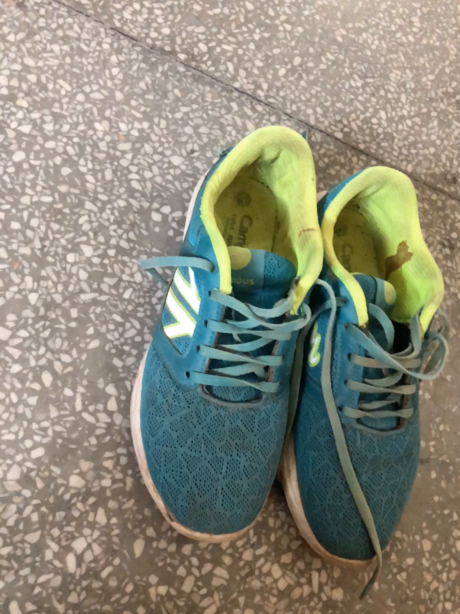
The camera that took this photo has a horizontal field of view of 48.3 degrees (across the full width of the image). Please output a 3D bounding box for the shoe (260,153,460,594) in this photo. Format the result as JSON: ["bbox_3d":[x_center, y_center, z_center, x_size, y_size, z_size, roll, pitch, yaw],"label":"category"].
[{"bbox_3d":[0.087,0.038,0.319,0.094,0.088,0.229,10,72,-14],"label":"shoe"}]

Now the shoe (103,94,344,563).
[{"bbox_3d":[-0.003,0.011,0.302,0.091,0.092,0.230,12,71,-14],"label":"shoe"}]
